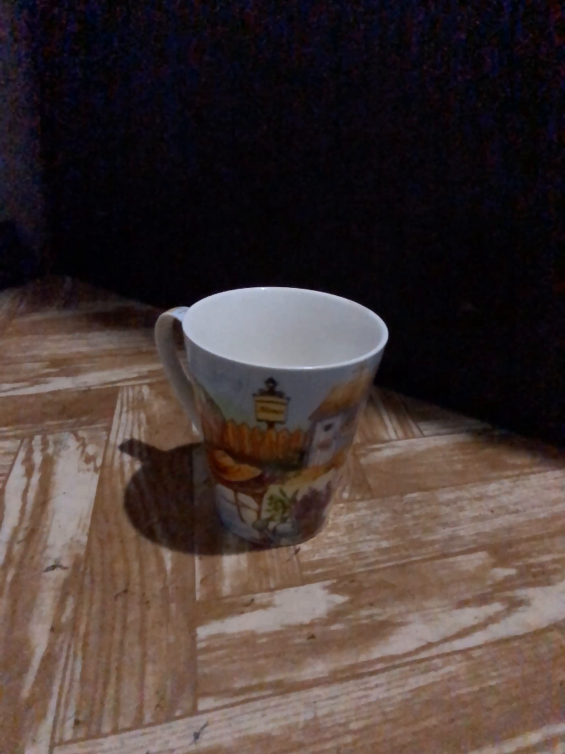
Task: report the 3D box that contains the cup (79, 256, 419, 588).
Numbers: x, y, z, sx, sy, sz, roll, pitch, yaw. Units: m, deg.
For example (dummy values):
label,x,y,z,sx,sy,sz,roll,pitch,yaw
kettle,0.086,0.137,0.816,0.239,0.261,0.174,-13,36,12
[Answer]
label,x,y,z,sx,sy,sz,roll,pitch,yaw
cup,-0.016,0.010,0.293,0.120,0.092,0.087,20,32,28
